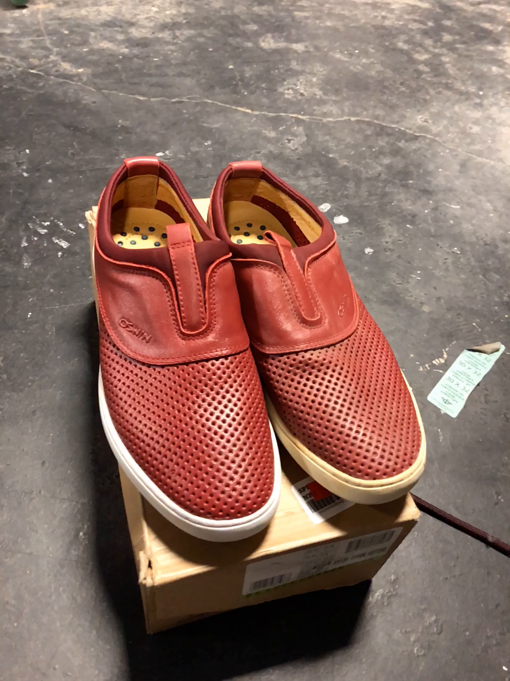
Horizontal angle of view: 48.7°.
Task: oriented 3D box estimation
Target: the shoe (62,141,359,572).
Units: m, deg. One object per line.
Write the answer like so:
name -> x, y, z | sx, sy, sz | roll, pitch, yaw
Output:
shoe -> -0.046, -0.011, 0.347 | 0.100, 0.089, 0.252 | -10, 53, -18

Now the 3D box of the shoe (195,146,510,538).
shoe -> 0.044, -0.018, 0.378 | 0.100, 0.089, 0.252 | -10, 53, -18
